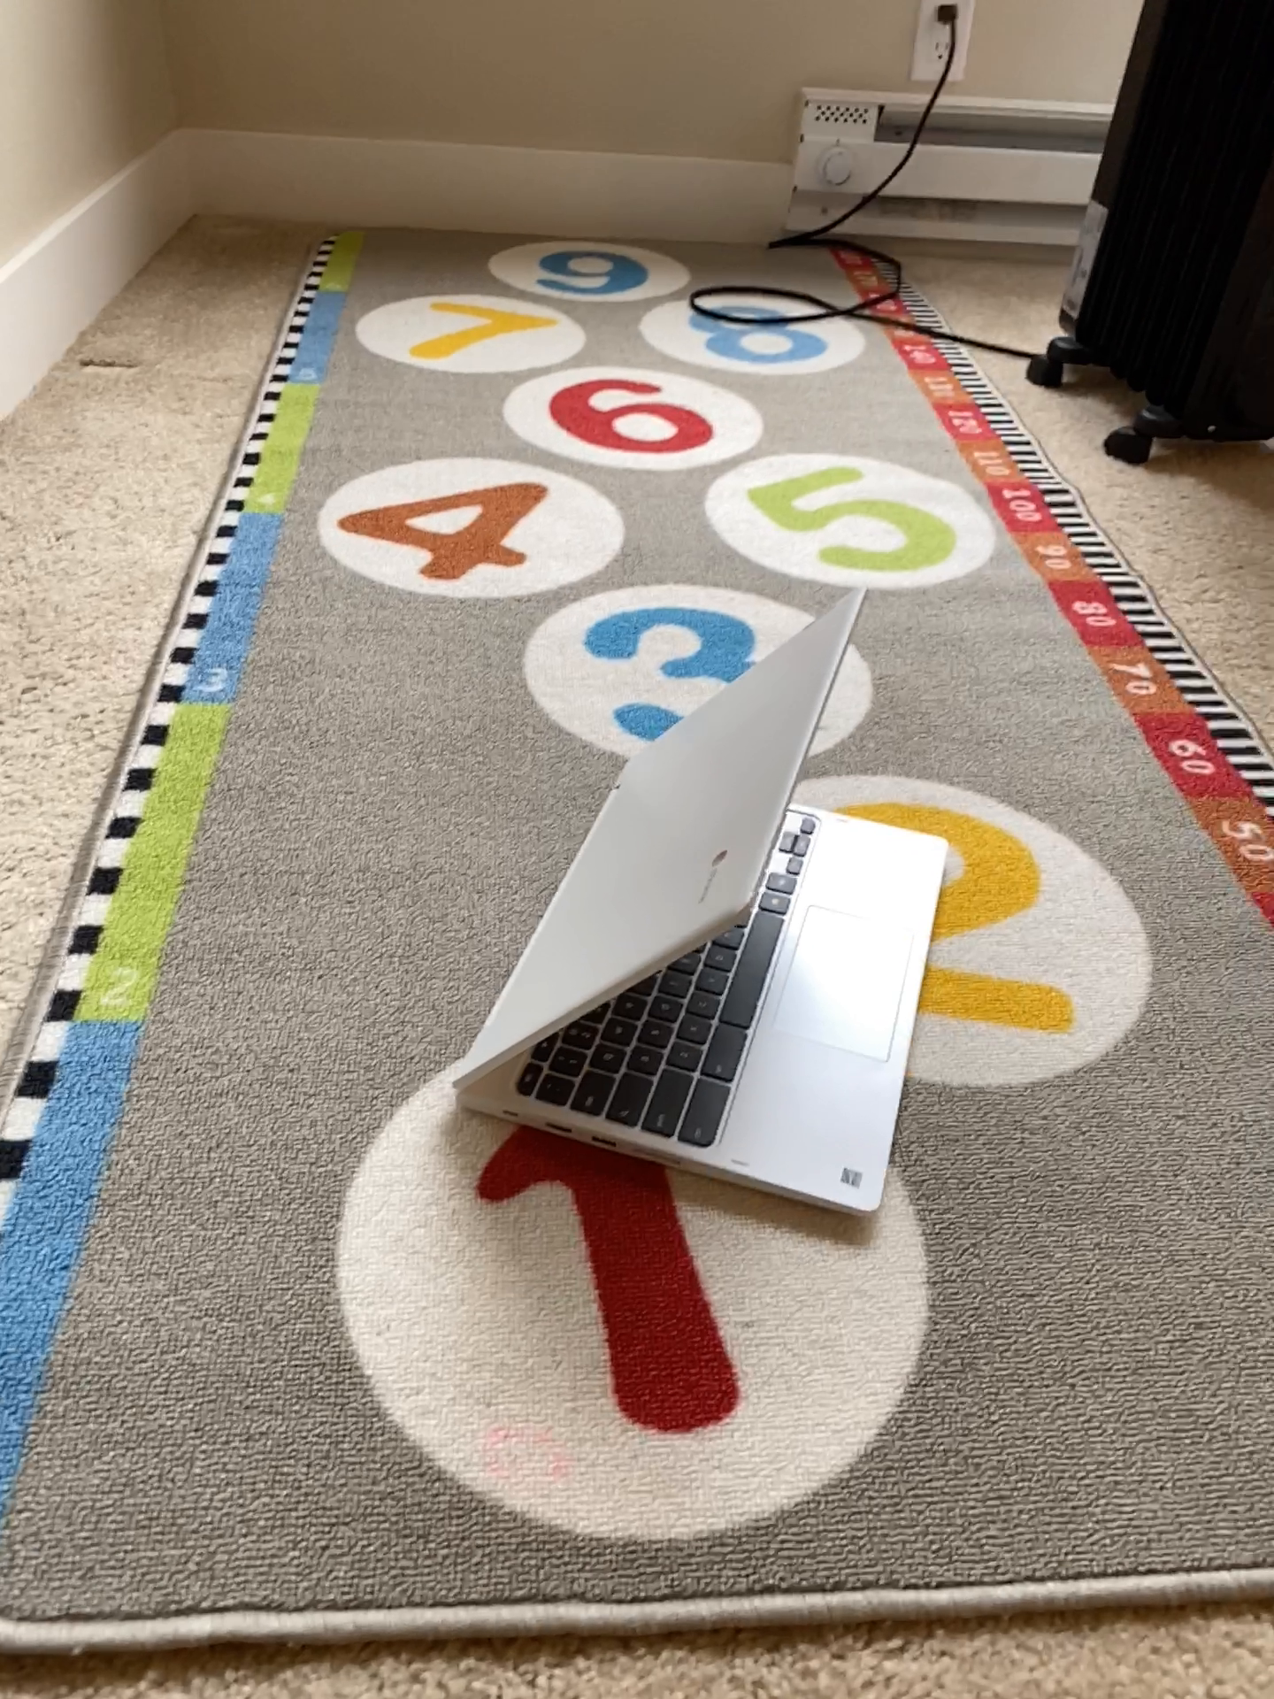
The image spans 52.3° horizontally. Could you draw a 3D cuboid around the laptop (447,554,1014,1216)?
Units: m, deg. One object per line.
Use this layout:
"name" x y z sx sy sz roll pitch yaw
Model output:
"laptop" 0.062 -0.003 0.694 0.216 0.162 0.300 13 39 11
